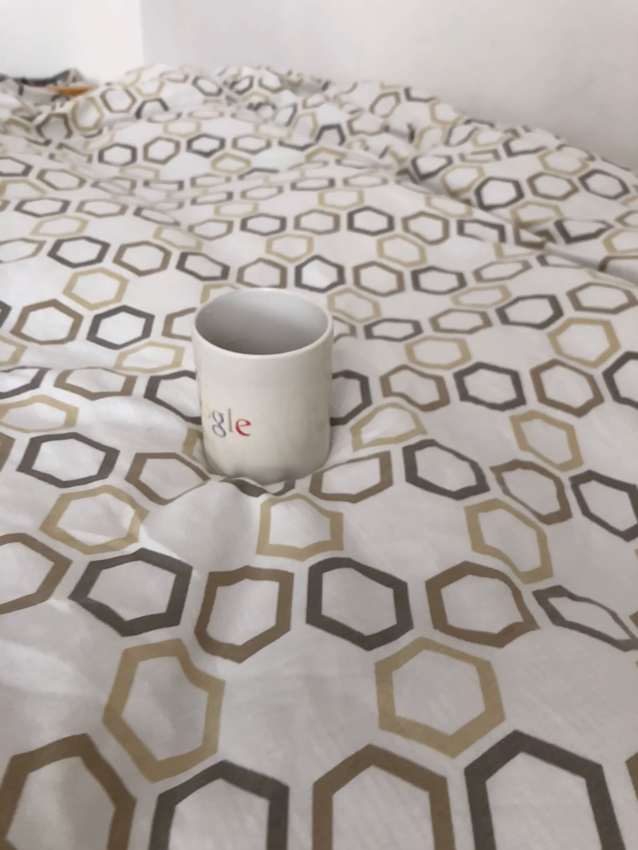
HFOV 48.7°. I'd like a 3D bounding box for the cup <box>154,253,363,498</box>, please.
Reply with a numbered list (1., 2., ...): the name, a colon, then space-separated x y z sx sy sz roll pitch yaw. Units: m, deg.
1. cup: -0.041 -0.037 0.439 0.087 0.087 0.126 -13 37 -19
